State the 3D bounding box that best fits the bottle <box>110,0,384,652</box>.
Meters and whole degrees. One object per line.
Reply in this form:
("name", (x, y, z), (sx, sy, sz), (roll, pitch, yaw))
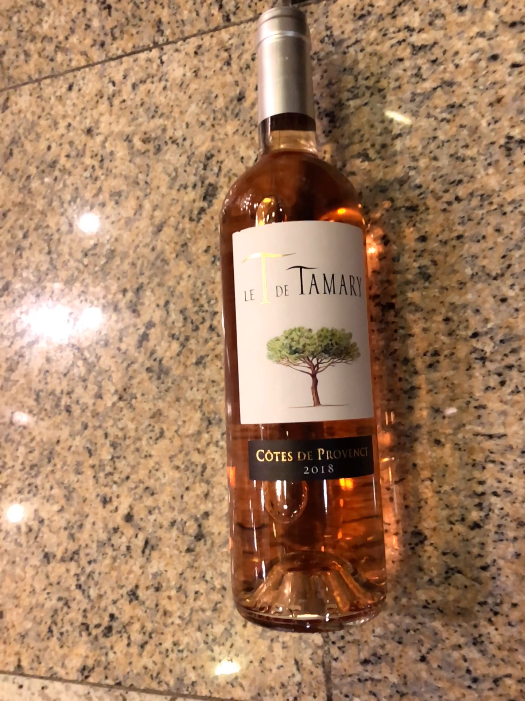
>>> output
("bottle", (-0.006, -0.046, 0.274), (0.090, 0.080, 0.320), (-5, 84, 20))
